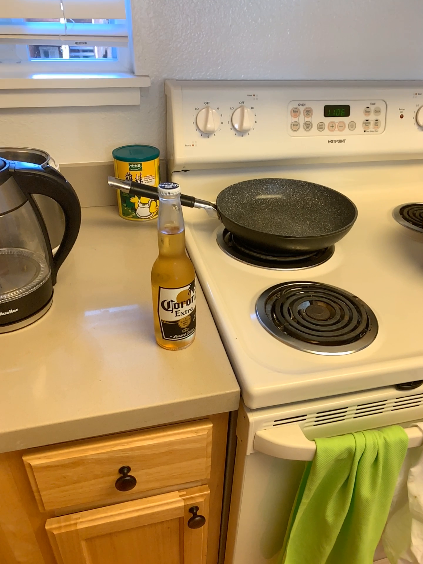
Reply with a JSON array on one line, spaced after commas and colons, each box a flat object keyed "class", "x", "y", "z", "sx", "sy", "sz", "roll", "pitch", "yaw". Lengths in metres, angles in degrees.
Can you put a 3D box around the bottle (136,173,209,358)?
[{"class": "bottle", "x": -0.048, "y": -0.017, "z": 0.562, "sx": 0.059, "sy": 0.226, "sz": 0.064, "roll": 1, "pitch": 33, "yaw": -1}]
